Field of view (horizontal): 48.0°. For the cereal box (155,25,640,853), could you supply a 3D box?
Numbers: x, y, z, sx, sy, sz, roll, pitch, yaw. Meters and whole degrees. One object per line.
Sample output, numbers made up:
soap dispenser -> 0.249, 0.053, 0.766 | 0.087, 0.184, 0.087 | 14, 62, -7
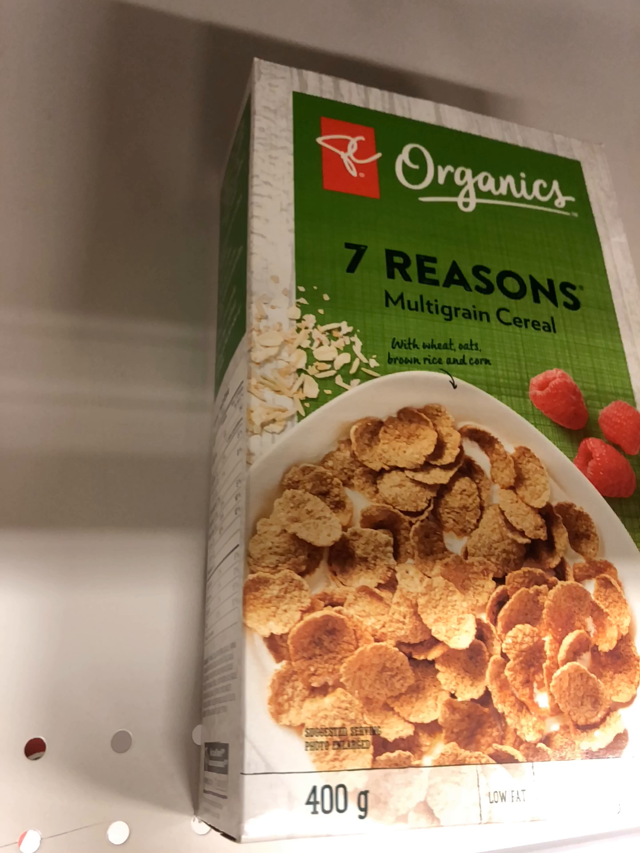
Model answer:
cereal box -> 0.046, -0.003, 0.253 | 0.180, 0.060, 0.260 | 6, 64, -17
